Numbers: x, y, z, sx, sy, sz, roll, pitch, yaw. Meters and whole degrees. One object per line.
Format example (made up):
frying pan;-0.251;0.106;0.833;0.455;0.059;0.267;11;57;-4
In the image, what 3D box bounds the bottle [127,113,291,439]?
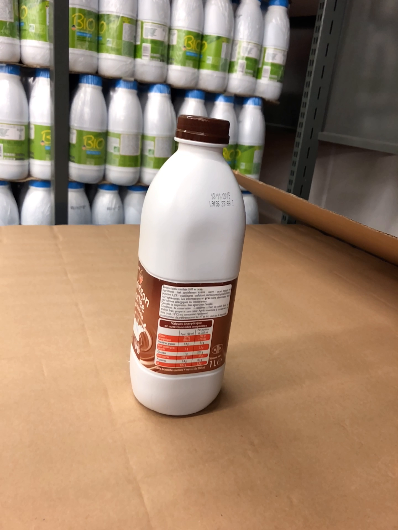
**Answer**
bottle;-0.003;0.007;0.360;0.080;0.239;0.090;-3;21;-23
